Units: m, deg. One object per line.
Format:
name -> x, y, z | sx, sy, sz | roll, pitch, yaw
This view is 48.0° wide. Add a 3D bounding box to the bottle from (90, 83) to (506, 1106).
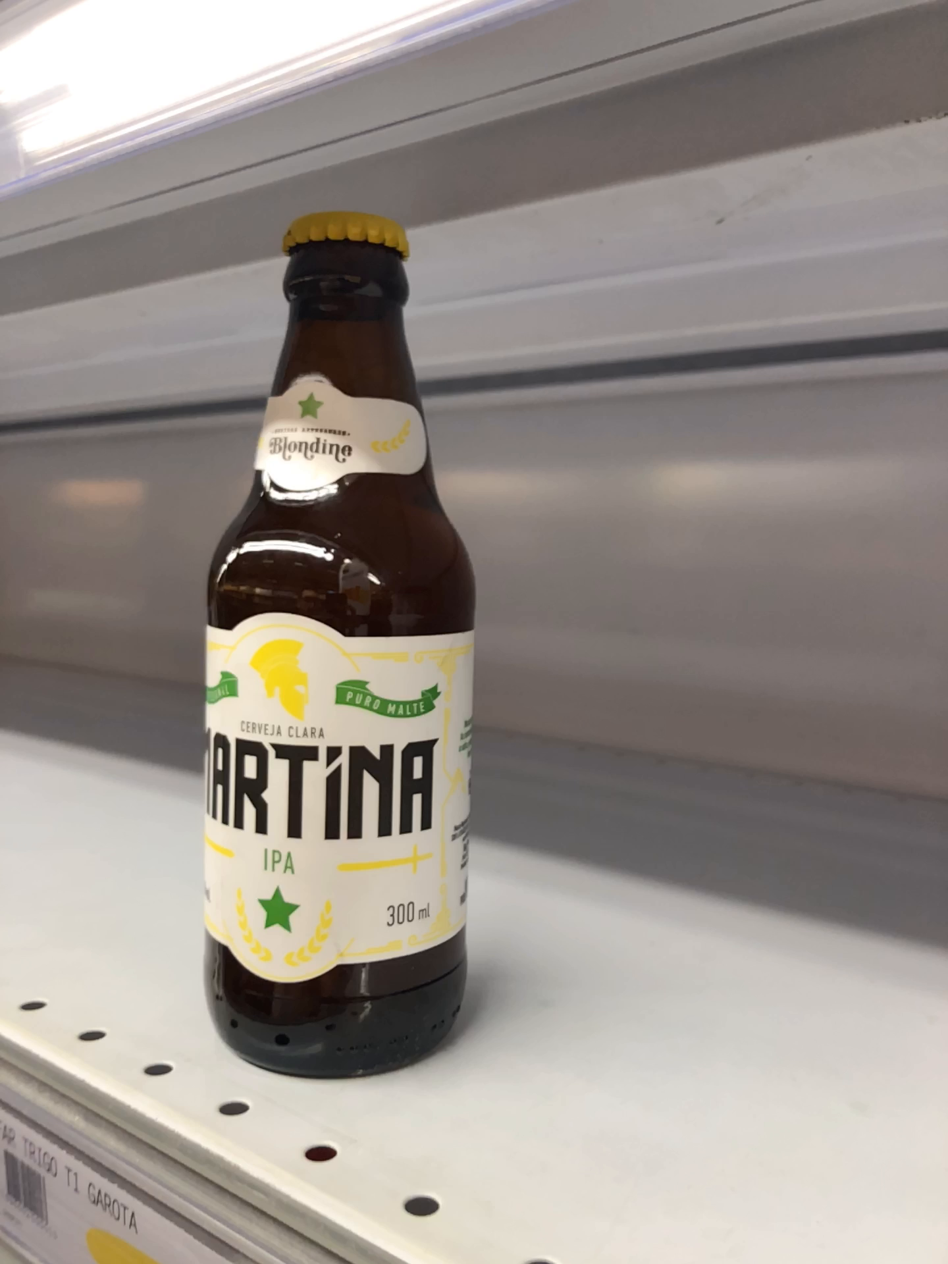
bottle -> -0.035, -0.008, 0.235 | 0.070, 0.190, 0.060 | 2, 4, 14
